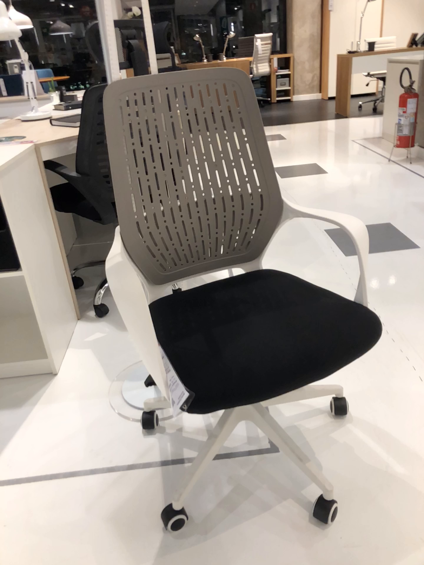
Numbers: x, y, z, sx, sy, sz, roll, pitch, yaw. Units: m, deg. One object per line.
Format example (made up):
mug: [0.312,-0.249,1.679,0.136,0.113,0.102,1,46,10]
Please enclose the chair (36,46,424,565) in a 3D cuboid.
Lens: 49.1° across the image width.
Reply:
chair: [0.078,0.023,1.133,0.691,1.003,0.674,-15,28,-19]
